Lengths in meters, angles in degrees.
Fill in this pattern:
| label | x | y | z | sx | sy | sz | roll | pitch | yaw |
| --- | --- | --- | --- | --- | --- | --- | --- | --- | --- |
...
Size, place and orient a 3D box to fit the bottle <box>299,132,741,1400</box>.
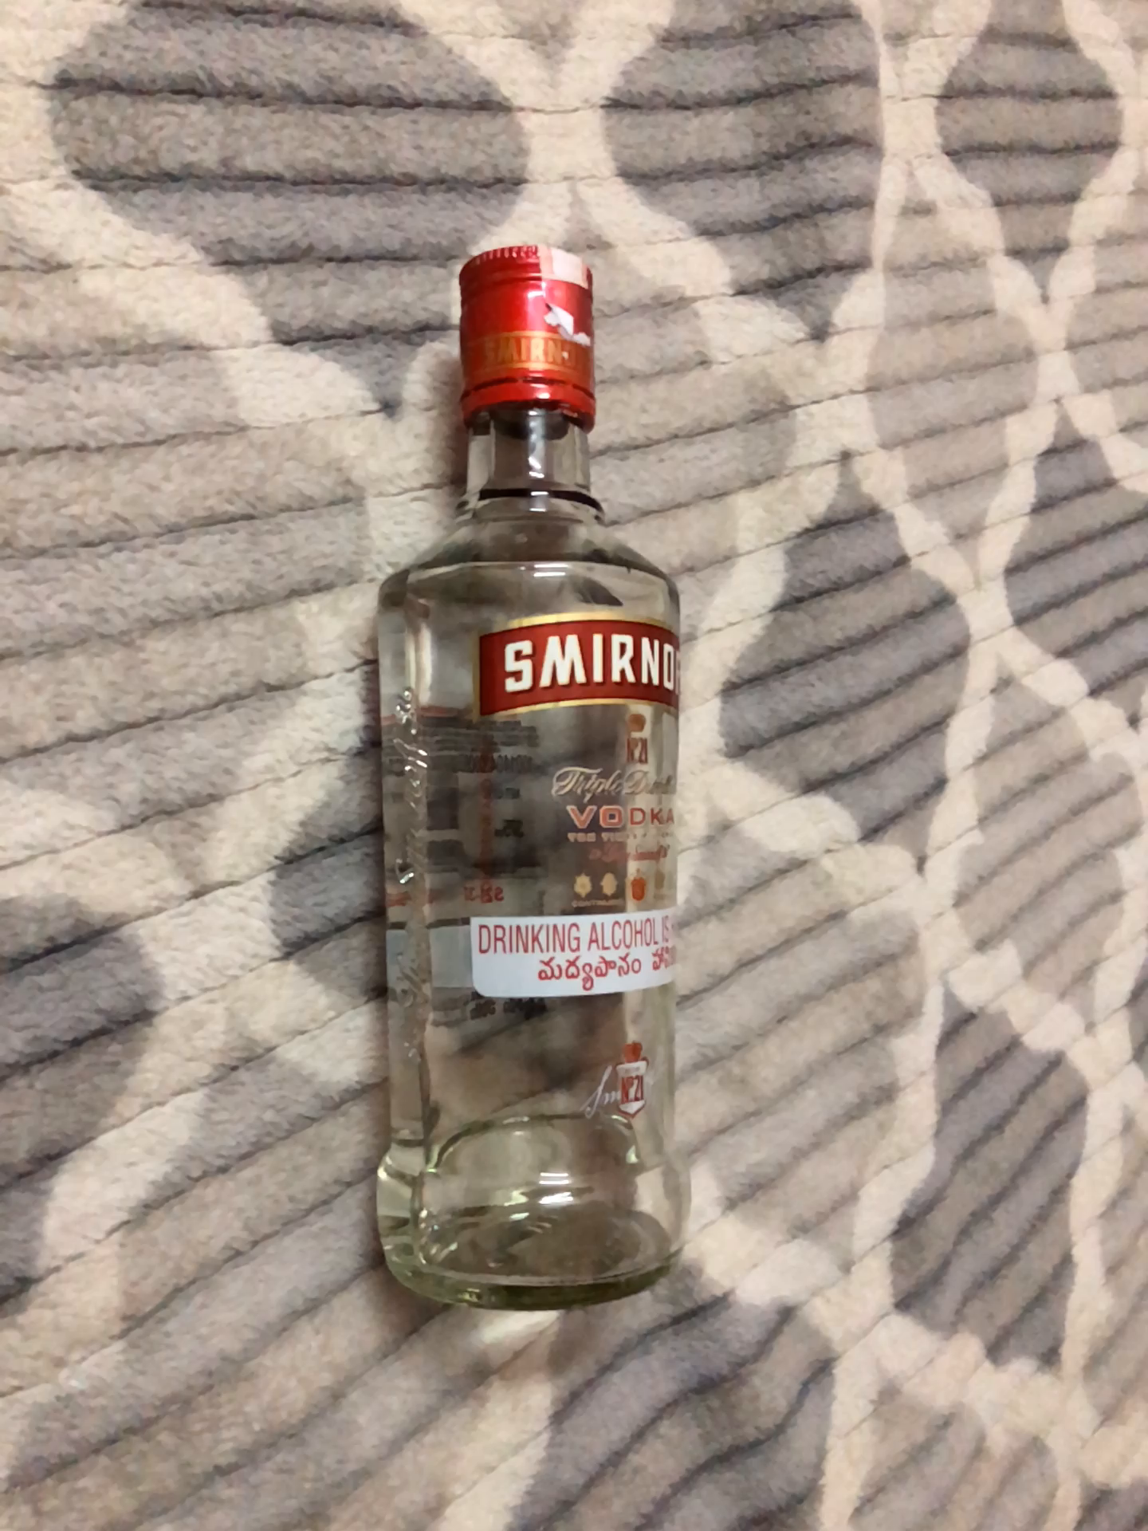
| label | x | y | z | sx | sy | sz | roll | pitch | yaw |
| --- | --- | --- | --- | --- | --- | --- | --- | --- | --- |
| bottle | -0.013 | -0.001 | 0.276 | 0.070 | 0.060 | 0.230 | 3 | 84 | -45 |
